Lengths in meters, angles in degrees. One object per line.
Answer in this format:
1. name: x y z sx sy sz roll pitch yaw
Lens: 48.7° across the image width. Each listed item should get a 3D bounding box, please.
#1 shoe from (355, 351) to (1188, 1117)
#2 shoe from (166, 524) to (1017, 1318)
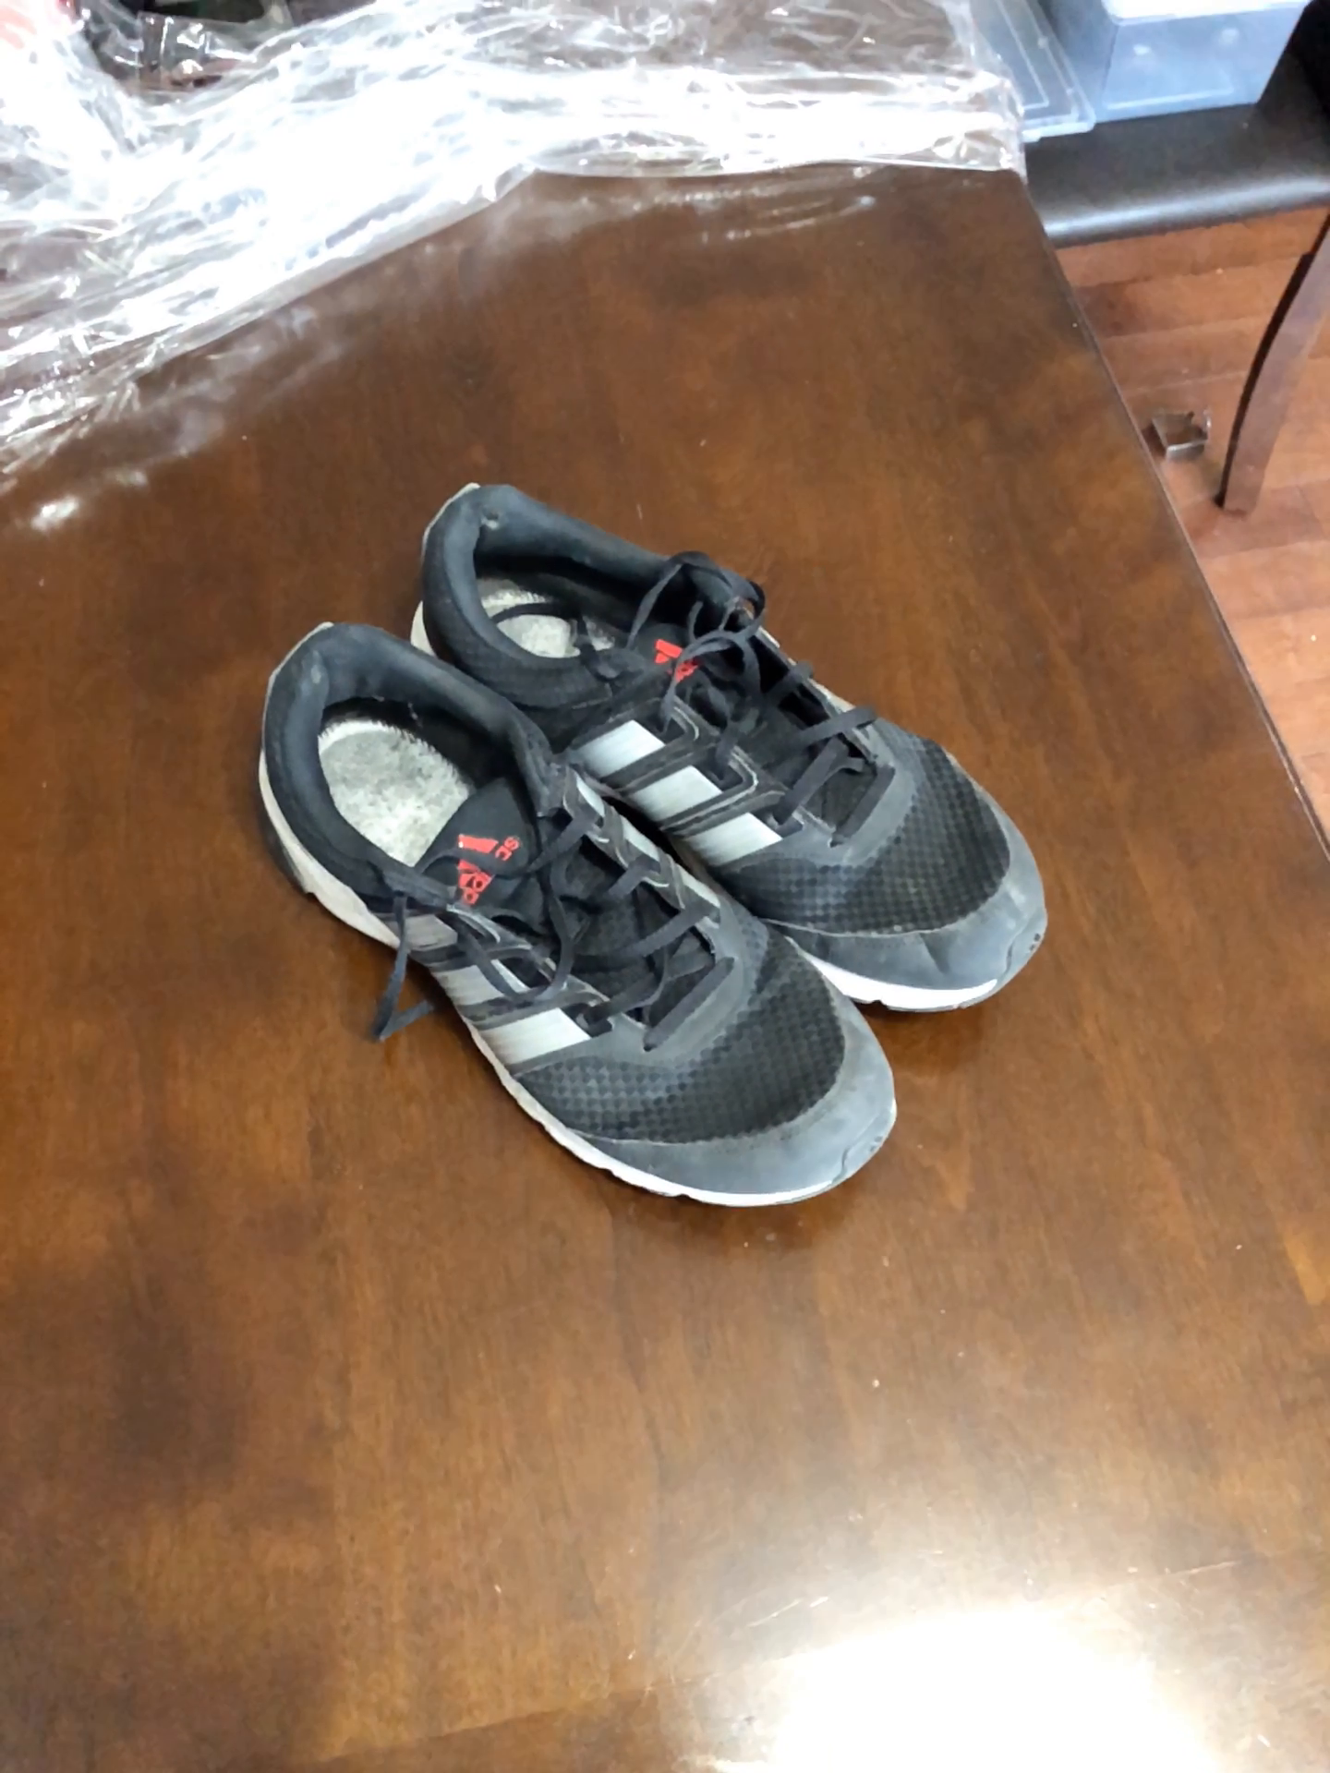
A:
1. shoe: 0.032 -0.064 0.589 0.290 0.130 0.120 37 67 18
2. shoe: -0.033 0.010 0.564 0.290 0.120 0.120 37 67 18
